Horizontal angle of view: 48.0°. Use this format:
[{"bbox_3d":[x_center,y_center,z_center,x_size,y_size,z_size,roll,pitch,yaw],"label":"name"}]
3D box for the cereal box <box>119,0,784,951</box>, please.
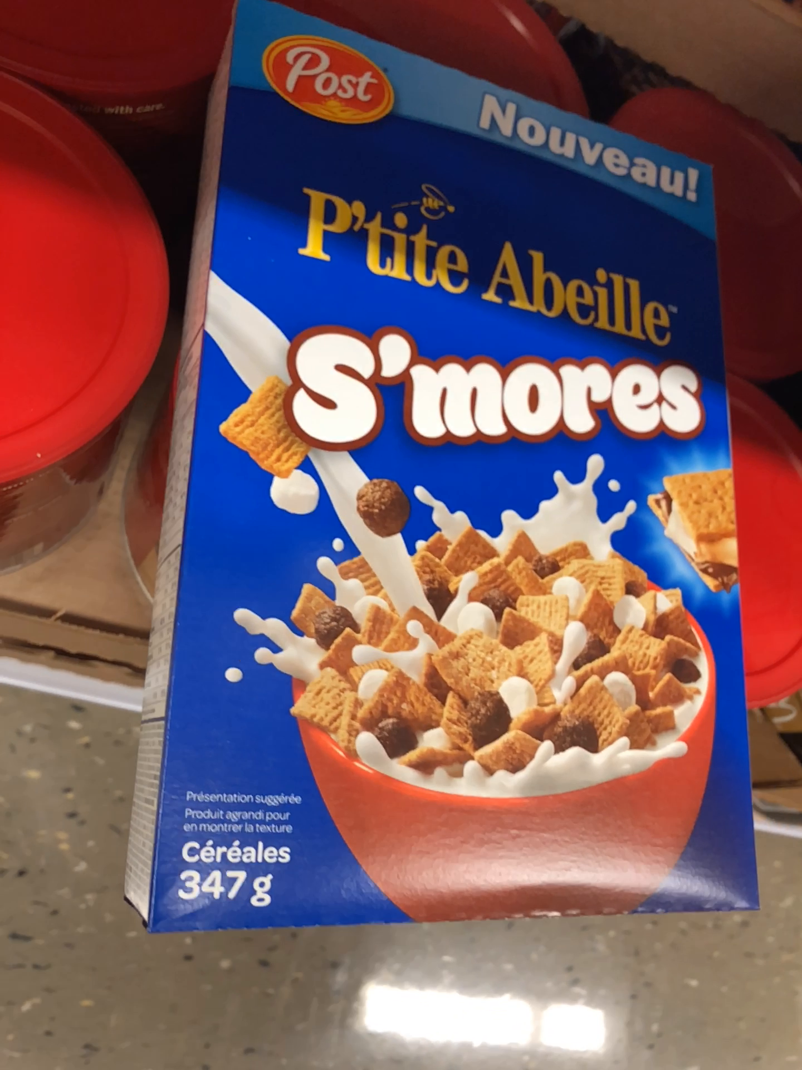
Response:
[{"bbox_3d":[0.025,-0.021,0.316,0.201,0.060,0.290,8,74,-21],"label":"cereal box"}]
